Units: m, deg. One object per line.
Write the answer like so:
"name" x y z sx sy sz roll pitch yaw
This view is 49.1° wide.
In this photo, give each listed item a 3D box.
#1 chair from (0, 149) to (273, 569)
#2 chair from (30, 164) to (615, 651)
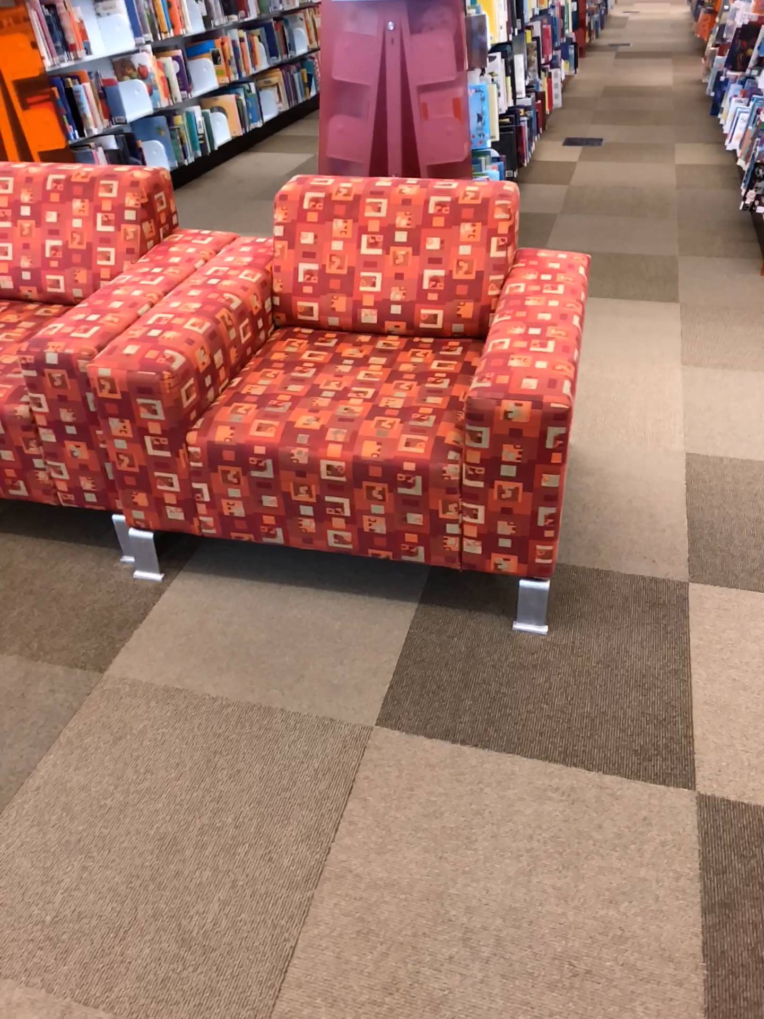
"chair" -0.930 -0.476 2.248 0.919 0.716 0.956 7 35 13
"chair" -0.020 -0.335 1.995 1.003 0.686 0.996 7 35 13
